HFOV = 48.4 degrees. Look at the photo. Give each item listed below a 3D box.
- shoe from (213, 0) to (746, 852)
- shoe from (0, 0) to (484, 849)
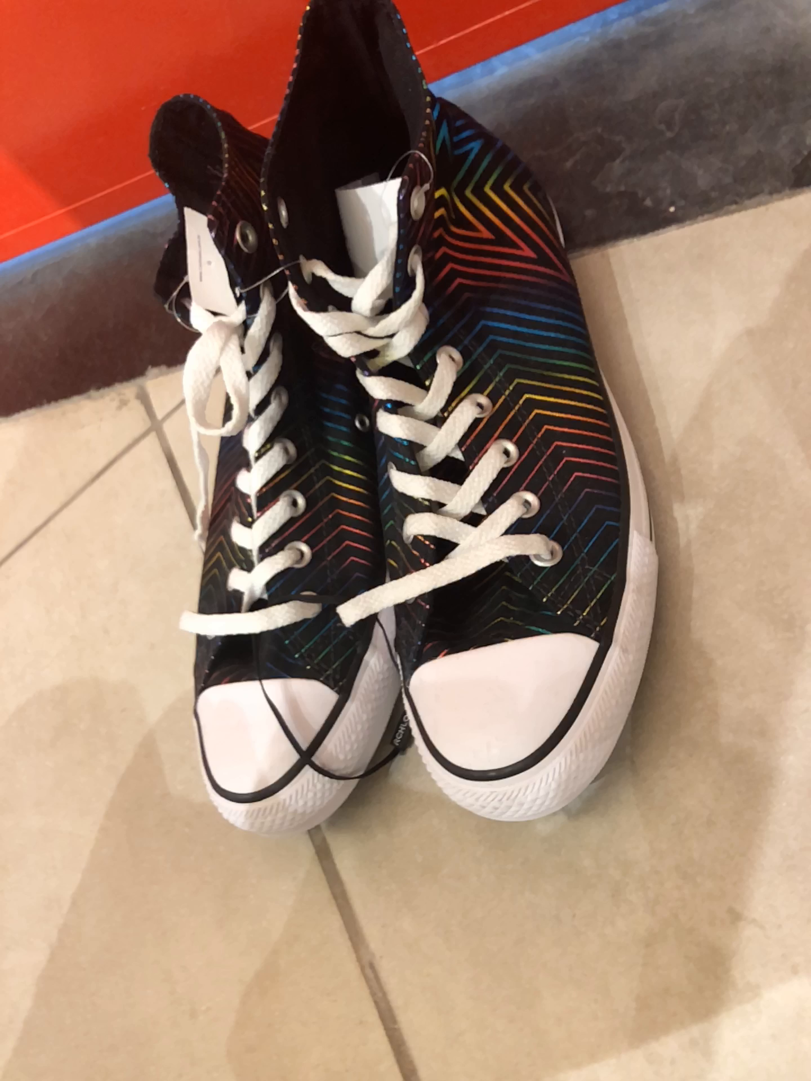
[{"bbox_3d":[0.026,-0.056,0.333,0.110,0.139,0.311,-15,64,27],"label":"shoe"},{"bbox_3d":[-0.051,-0.038,0.381,0.110,0.139,0.311,-12,65,28],"label":"shoe"}]
